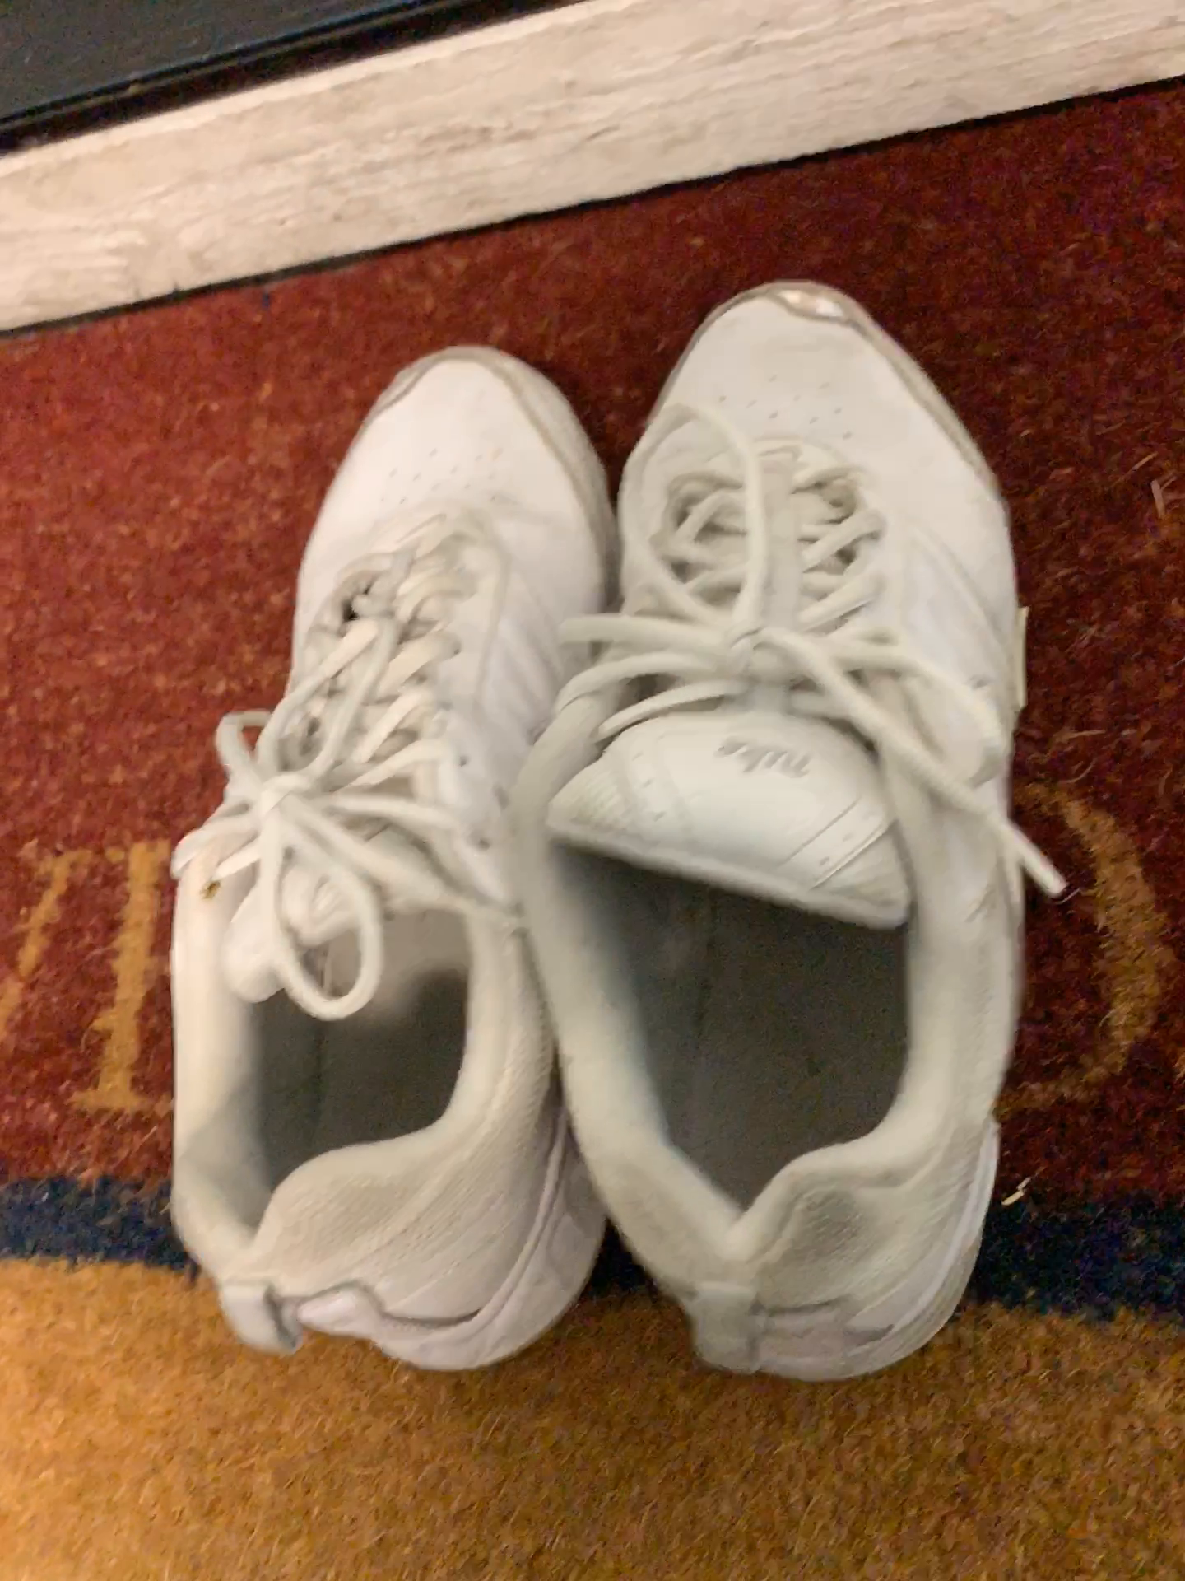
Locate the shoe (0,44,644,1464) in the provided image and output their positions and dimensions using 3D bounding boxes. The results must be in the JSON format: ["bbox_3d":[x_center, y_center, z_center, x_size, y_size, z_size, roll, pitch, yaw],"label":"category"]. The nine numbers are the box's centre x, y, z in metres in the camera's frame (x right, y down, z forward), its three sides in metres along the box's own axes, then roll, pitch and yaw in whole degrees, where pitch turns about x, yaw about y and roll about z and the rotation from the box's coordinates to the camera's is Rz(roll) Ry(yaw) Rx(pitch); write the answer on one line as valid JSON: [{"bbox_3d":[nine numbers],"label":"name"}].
[{"bbox_3d":[-0.060,-0.011,0.321,0.110,0.129,0.301,-4,71,18],"label":"shoe"}]

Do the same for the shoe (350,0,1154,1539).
[{"bbox_3d":[0.042,-0.020,0.287,0.120,0.129,0.301,-4,71,18],"label":"shoe"}]
